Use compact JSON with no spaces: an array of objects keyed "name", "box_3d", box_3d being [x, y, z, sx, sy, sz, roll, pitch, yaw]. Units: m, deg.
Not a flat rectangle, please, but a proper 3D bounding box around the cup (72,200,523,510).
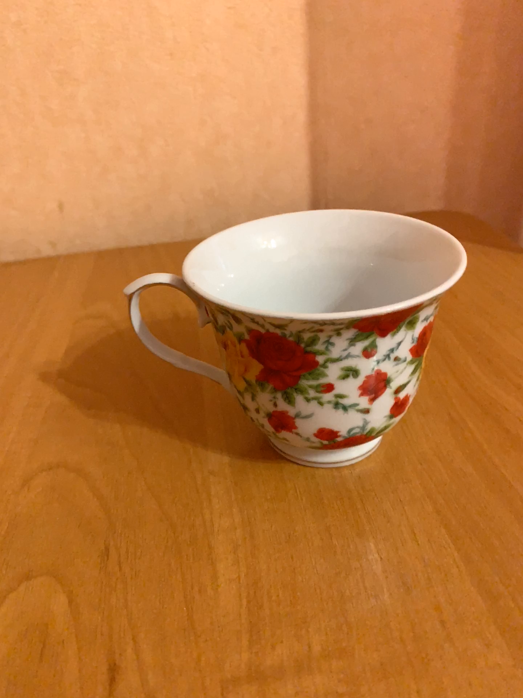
[{"name":"cup","box_3d":[0.012,-0.004,0.205,0.120,0.067,0.100,-3,31,4]}]
